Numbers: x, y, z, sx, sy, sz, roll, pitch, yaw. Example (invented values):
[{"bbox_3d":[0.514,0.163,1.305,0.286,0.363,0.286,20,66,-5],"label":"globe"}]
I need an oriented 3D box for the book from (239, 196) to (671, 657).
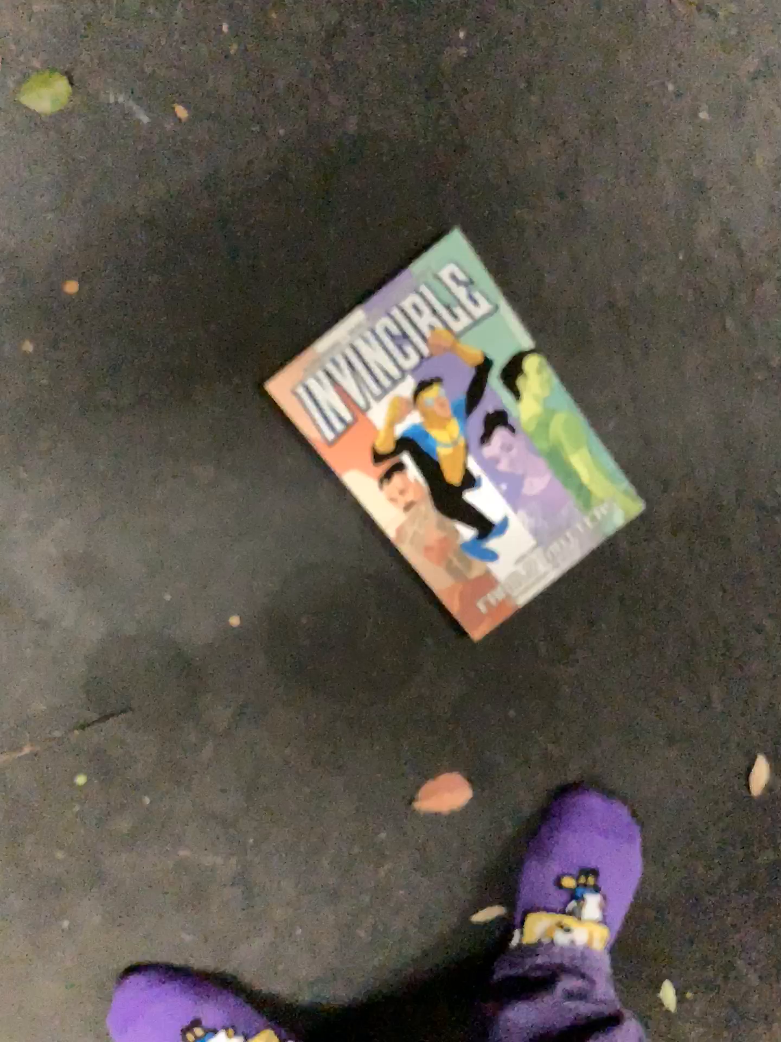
[{"bbox_3d":[0.052,-0.057,0.622,0.180,0.020,0.270,-40,107,2],"label":"book"}]
